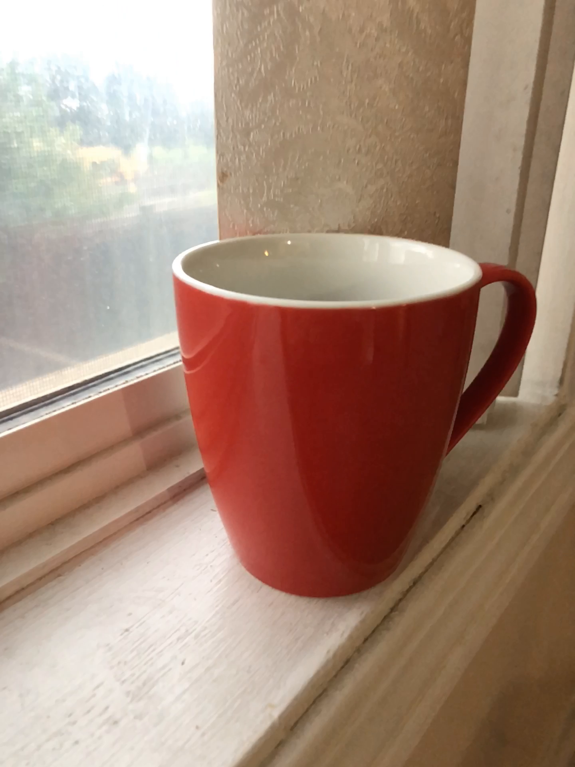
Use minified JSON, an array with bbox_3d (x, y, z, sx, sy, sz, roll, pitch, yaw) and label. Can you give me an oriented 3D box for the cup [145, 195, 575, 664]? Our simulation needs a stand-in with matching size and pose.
[{"bbox_3d":[0.030,-0.002,0.195,0.110,0.090,0.080,-20,30,-39],"label":"cup"}]
